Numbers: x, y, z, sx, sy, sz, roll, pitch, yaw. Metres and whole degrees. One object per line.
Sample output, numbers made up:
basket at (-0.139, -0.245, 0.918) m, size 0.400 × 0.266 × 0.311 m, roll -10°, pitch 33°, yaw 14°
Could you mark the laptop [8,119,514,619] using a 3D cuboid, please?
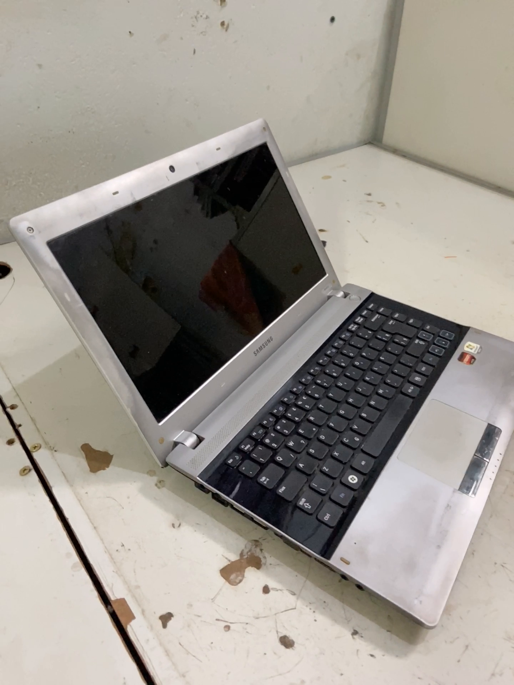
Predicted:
laptop at (0.061, -0.041, 0.481) m, size 0.367 × 0.180 × 0.343 m, roll 23°, pitch 43°, yaw 26°
